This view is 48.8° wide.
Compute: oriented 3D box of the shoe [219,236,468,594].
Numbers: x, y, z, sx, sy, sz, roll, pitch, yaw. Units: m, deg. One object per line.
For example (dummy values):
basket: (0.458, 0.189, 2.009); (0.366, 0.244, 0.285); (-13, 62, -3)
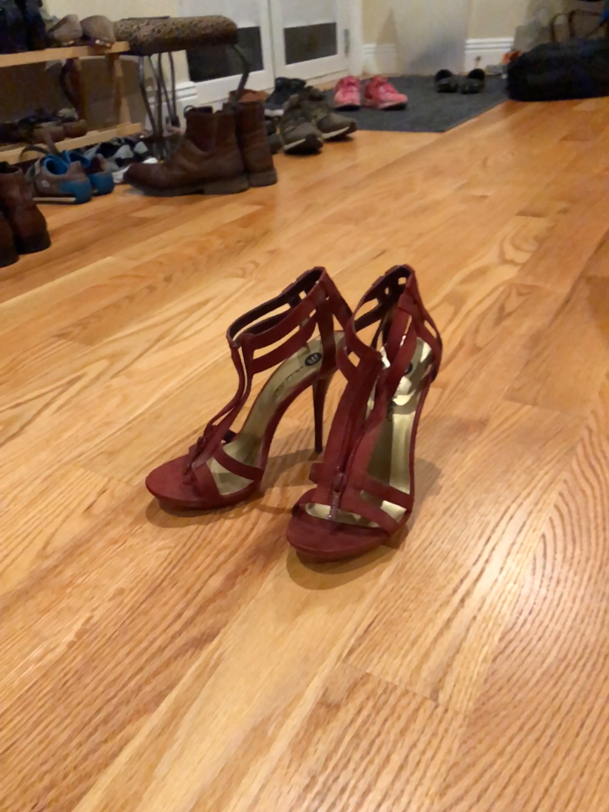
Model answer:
shoe: (0.043, -0.007, 0.500); (0.085, 0.175, 0.207); (13, 34, 27)

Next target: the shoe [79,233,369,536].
shoe: (-0.053, -0.025, 0.550); (0.199, 0.175, 0.085); (-21, 34, -27)
